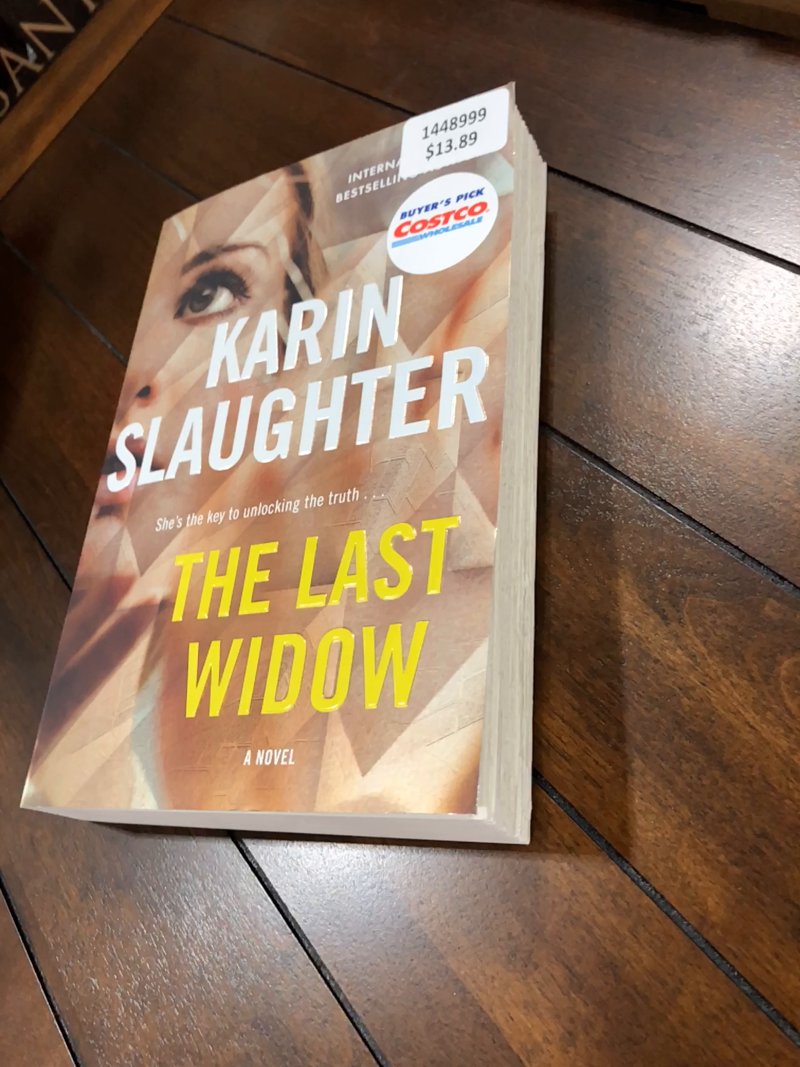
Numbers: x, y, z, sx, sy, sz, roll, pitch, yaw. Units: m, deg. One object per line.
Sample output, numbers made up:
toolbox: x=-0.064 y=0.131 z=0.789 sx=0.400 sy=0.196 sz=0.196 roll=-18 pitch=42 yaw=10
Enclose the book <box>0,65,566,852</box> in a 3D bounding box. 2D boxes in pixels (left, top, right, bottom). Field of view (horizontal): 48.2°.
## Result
book: x=-0.030 y=-0.025 z=0.288 sx=0.154 sy=0.042 sz=0.230 roll=-9 pitch=62 yaw=29
